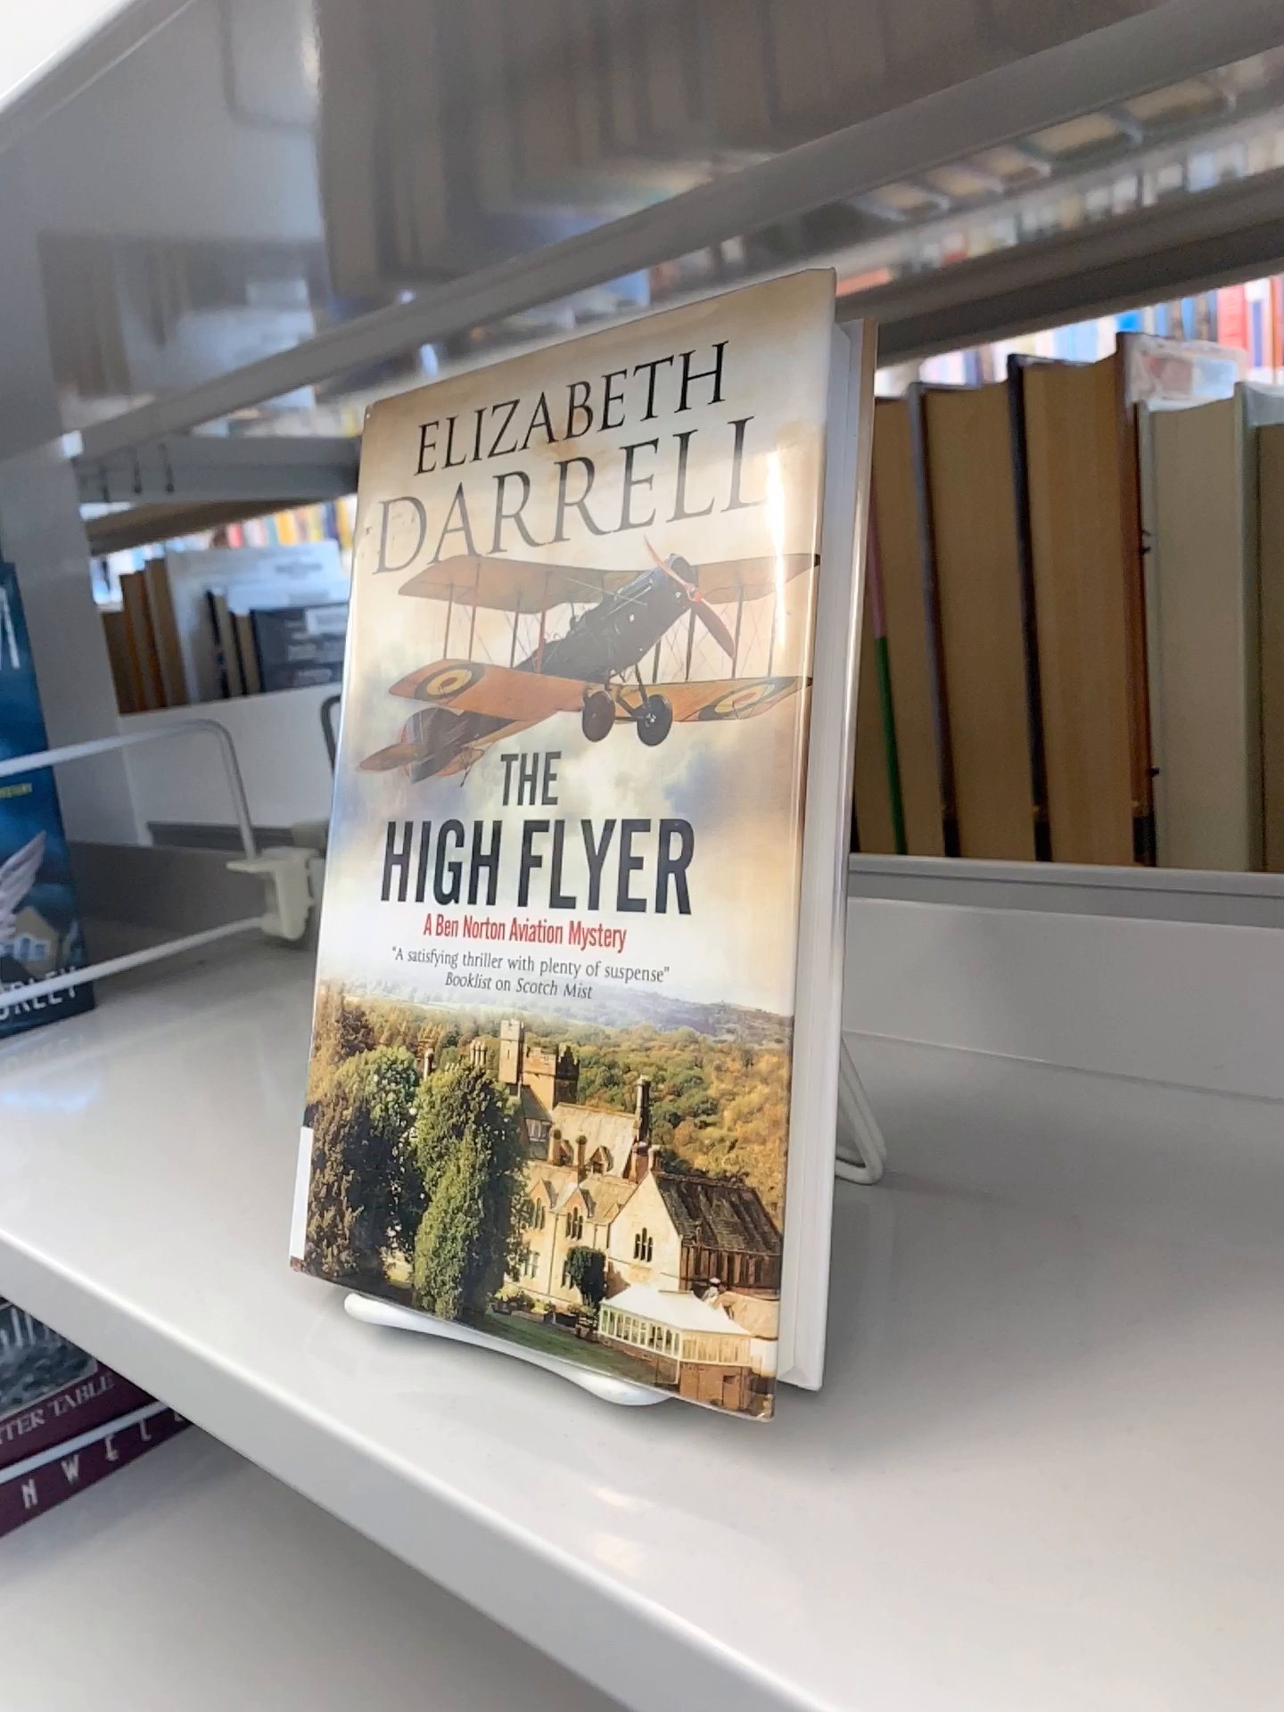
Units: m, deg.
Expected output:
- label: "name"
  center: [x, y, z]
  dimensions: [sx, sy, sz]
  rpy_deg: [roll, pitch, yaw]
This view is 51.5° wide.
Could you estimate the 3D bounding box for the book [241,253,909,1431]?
- label: "book"
  center: [-0.021, -0.006, 0.299]
  dimensions: [0.151, 0.215, 0.031]
  rpy_deg: [1, -5, 37]
